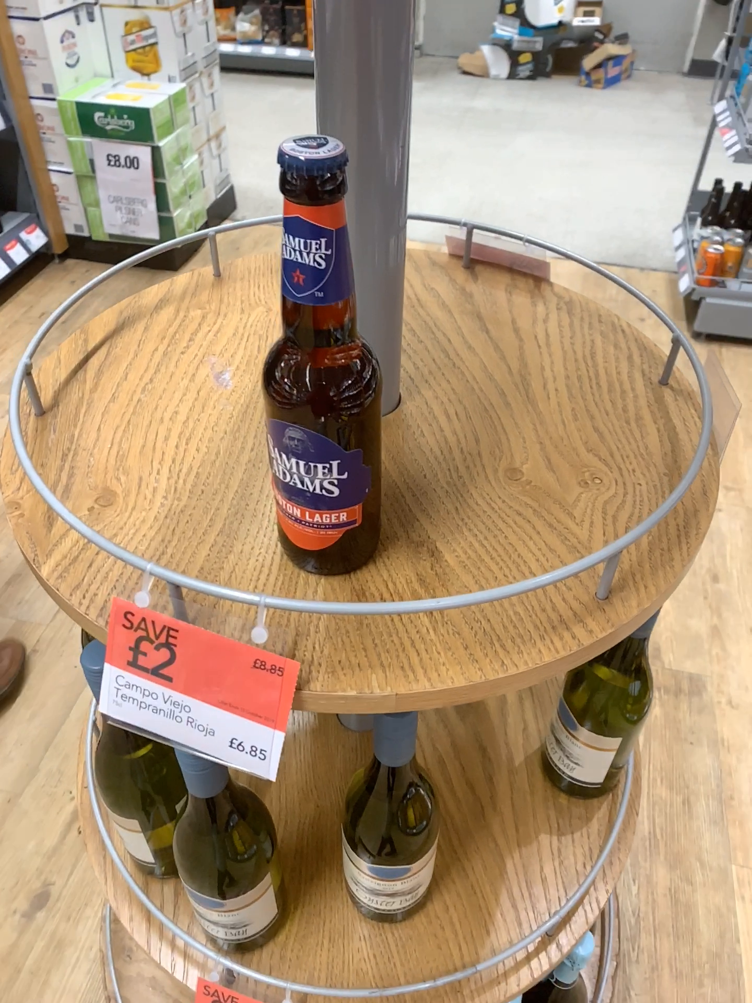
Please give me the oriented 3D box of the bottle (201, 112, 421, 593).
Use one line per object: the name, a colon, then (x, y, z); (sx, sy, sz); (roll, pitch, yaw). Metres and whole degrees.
bottle: (-0.024, -0.058, 0.364); (0.062, 0.211, 0.061); (1, 42, 0)
